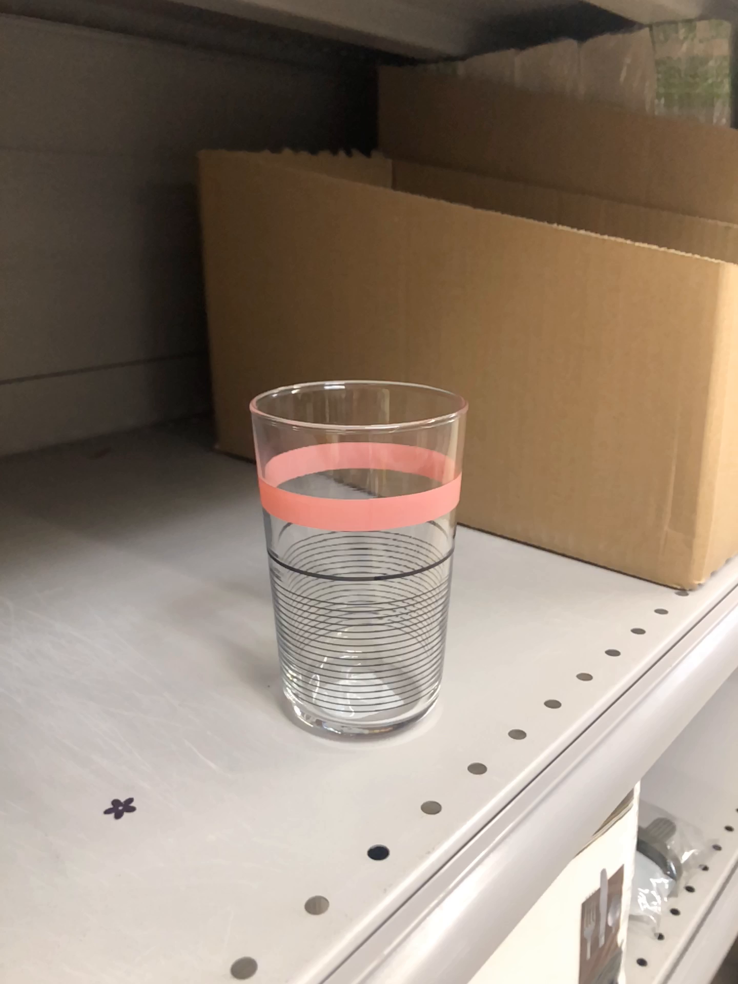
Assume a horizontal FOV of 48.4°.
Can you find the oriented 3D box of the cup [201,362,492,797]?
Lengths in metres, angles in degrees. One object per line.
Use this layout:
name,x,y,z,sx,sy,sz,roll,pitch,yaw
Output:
cup,-0.011,0.025,0.284,0.074,0.123,0.063,-8,23,-25
